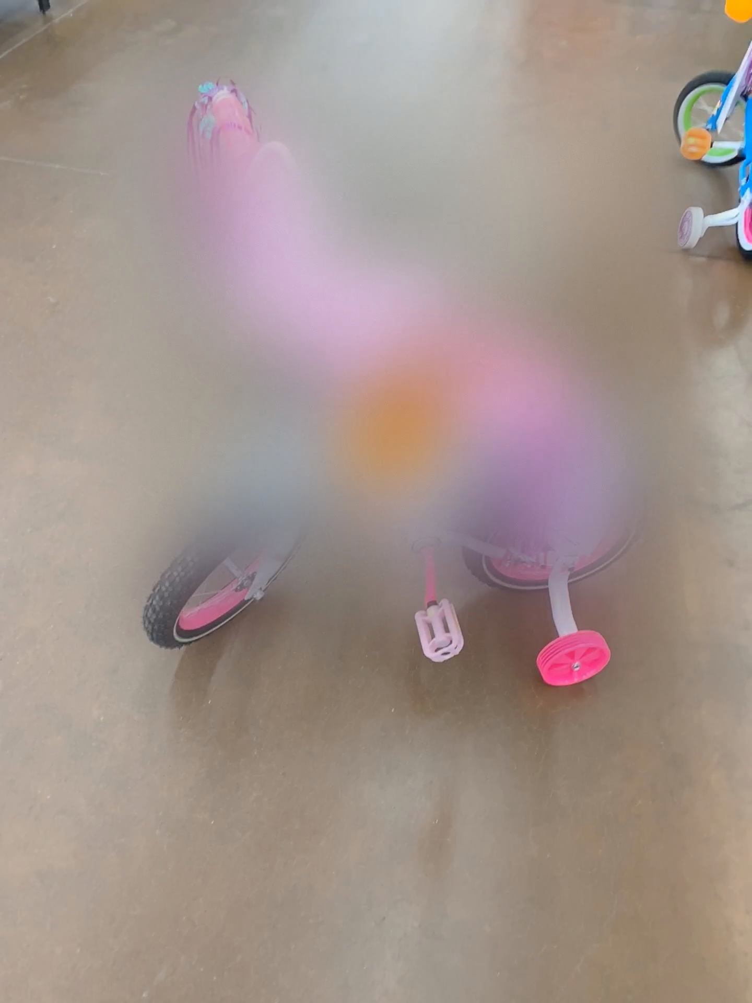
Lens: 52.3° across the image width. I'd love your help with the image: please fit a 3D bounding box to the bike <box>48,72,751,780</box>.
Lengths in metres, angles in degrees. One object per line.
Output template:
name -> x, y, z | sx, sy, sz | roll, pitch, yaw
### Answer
bike -> 0.045, -0.092, 1.002 | 0.725, 0.648, 0.503 | -11, 49, -12
